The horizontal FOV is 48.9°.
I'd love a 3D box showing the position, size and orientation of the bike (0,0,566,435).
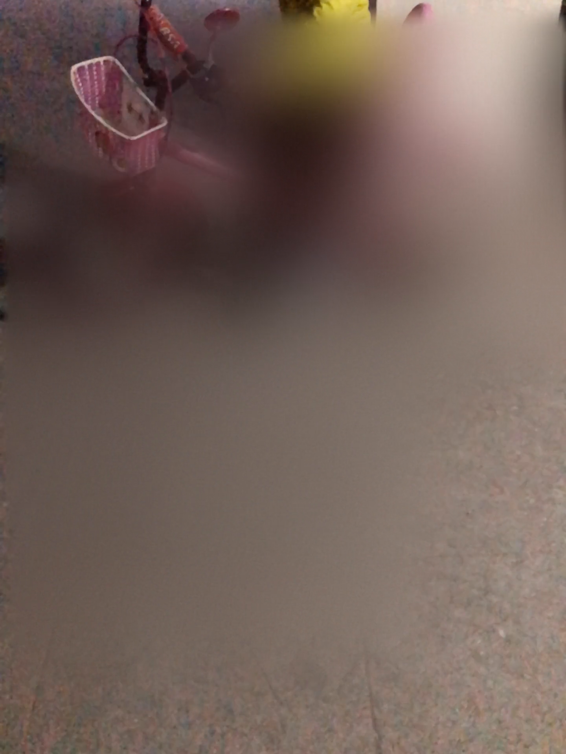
[{"bbox_3d":[-0.016,-0.441,1.516,1.278,0.910,0.496,-7,42,-7],"label":"bike"}]
